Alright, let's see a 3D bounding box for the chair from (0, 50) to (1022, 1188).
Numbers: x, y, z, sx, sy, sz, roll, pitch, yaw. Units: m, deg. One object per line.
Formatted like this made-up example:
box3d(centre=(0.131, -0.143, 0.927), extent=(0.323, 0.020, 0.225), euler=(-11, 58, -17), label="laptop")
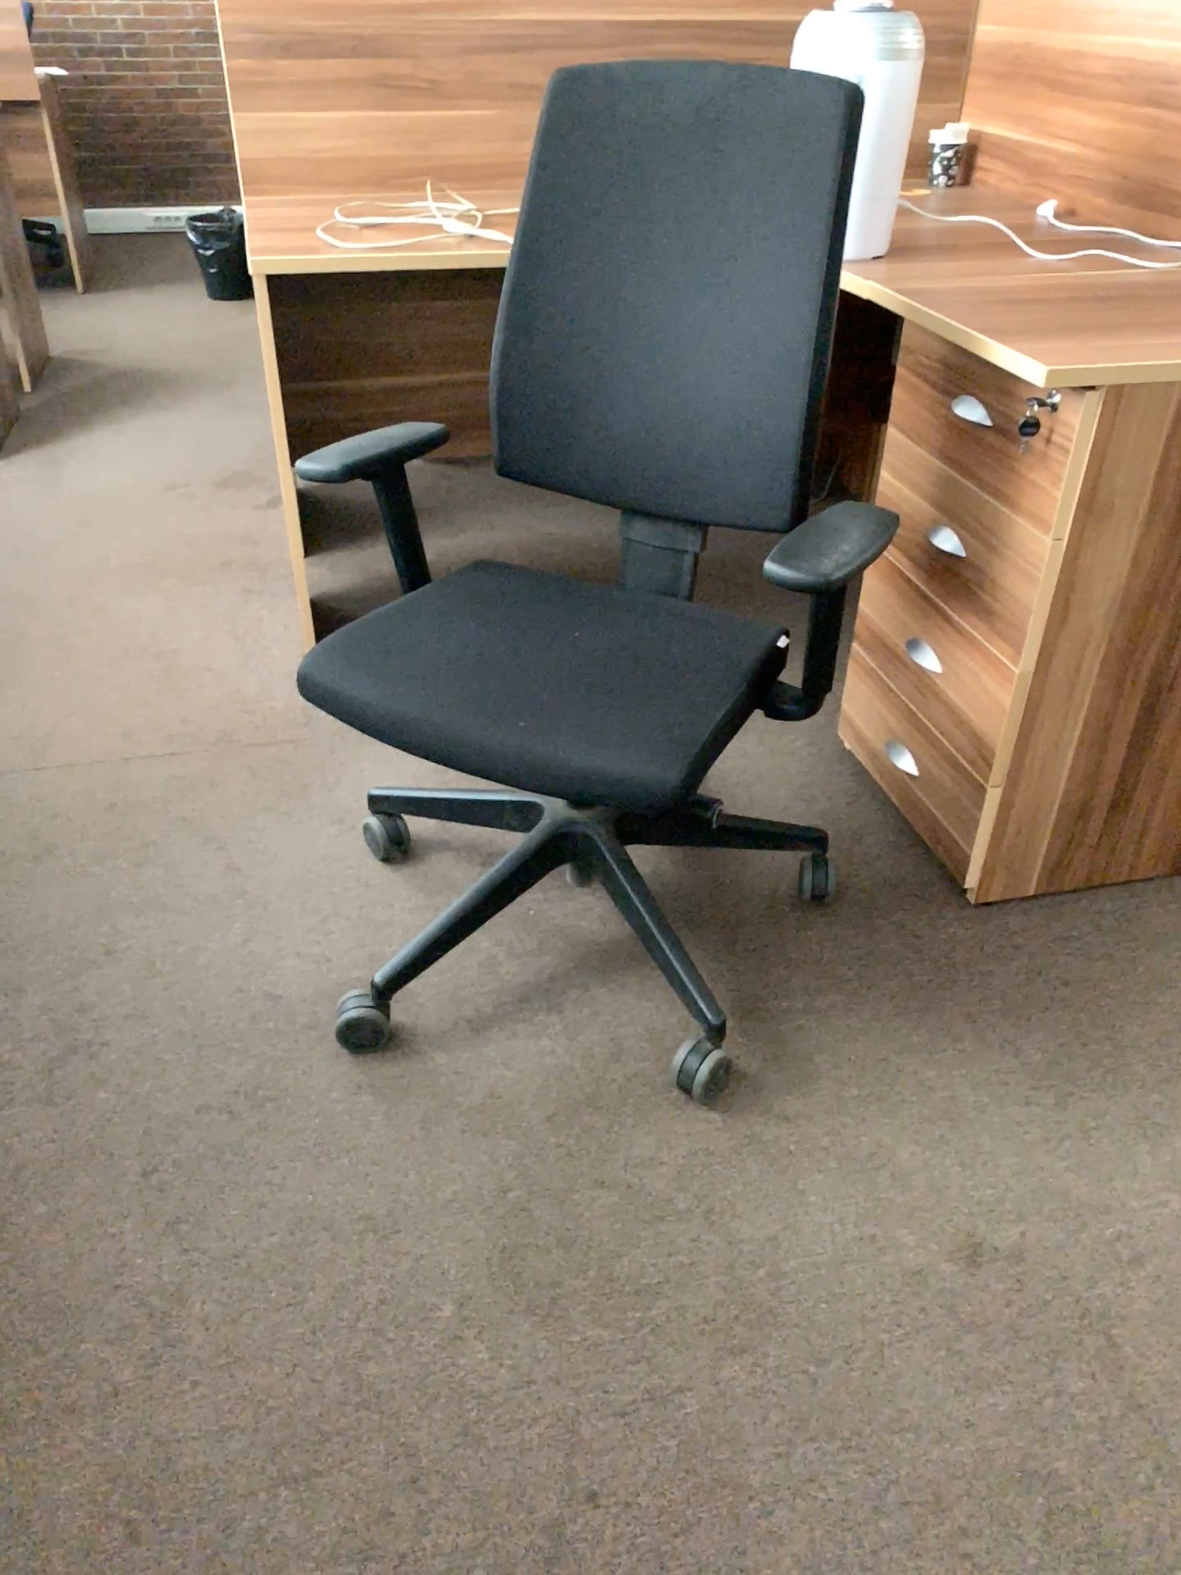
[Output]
box3d(centre=(-0.028, -0.270, 1.357), extent=(0.671, 0.915, 0.793), euler=(16, 37, 22), label="chair")
